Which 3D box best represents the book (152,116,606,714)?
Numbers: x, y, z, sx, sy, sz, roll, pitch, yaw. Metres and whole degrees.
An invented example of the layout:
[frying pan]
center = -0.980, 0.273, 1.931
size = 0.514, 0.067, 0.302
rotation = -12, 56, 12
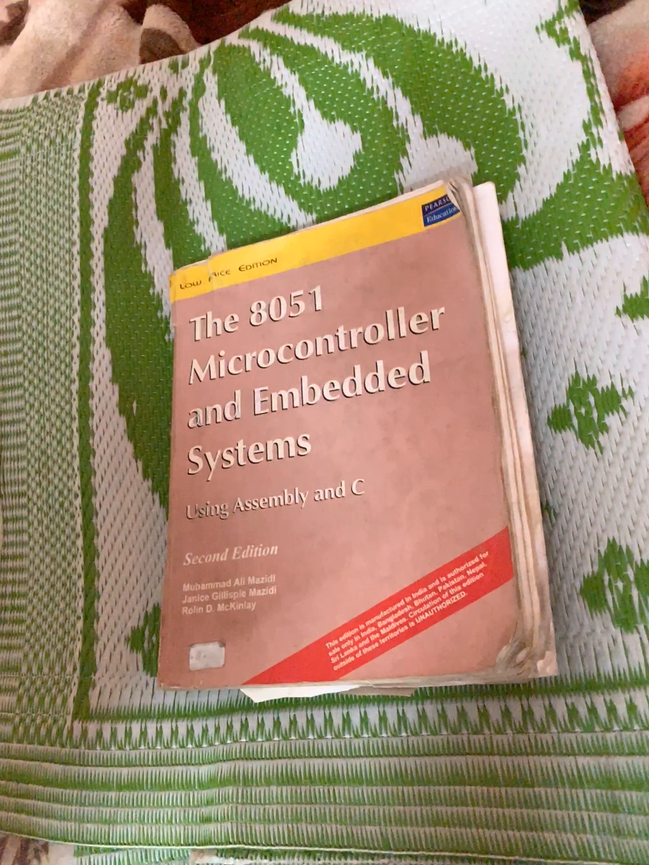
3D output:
[book]
center = 0.010, -0.002, 0.389
size = 0.231, 0.050, 0.301
rotation = -13, 69, 26
